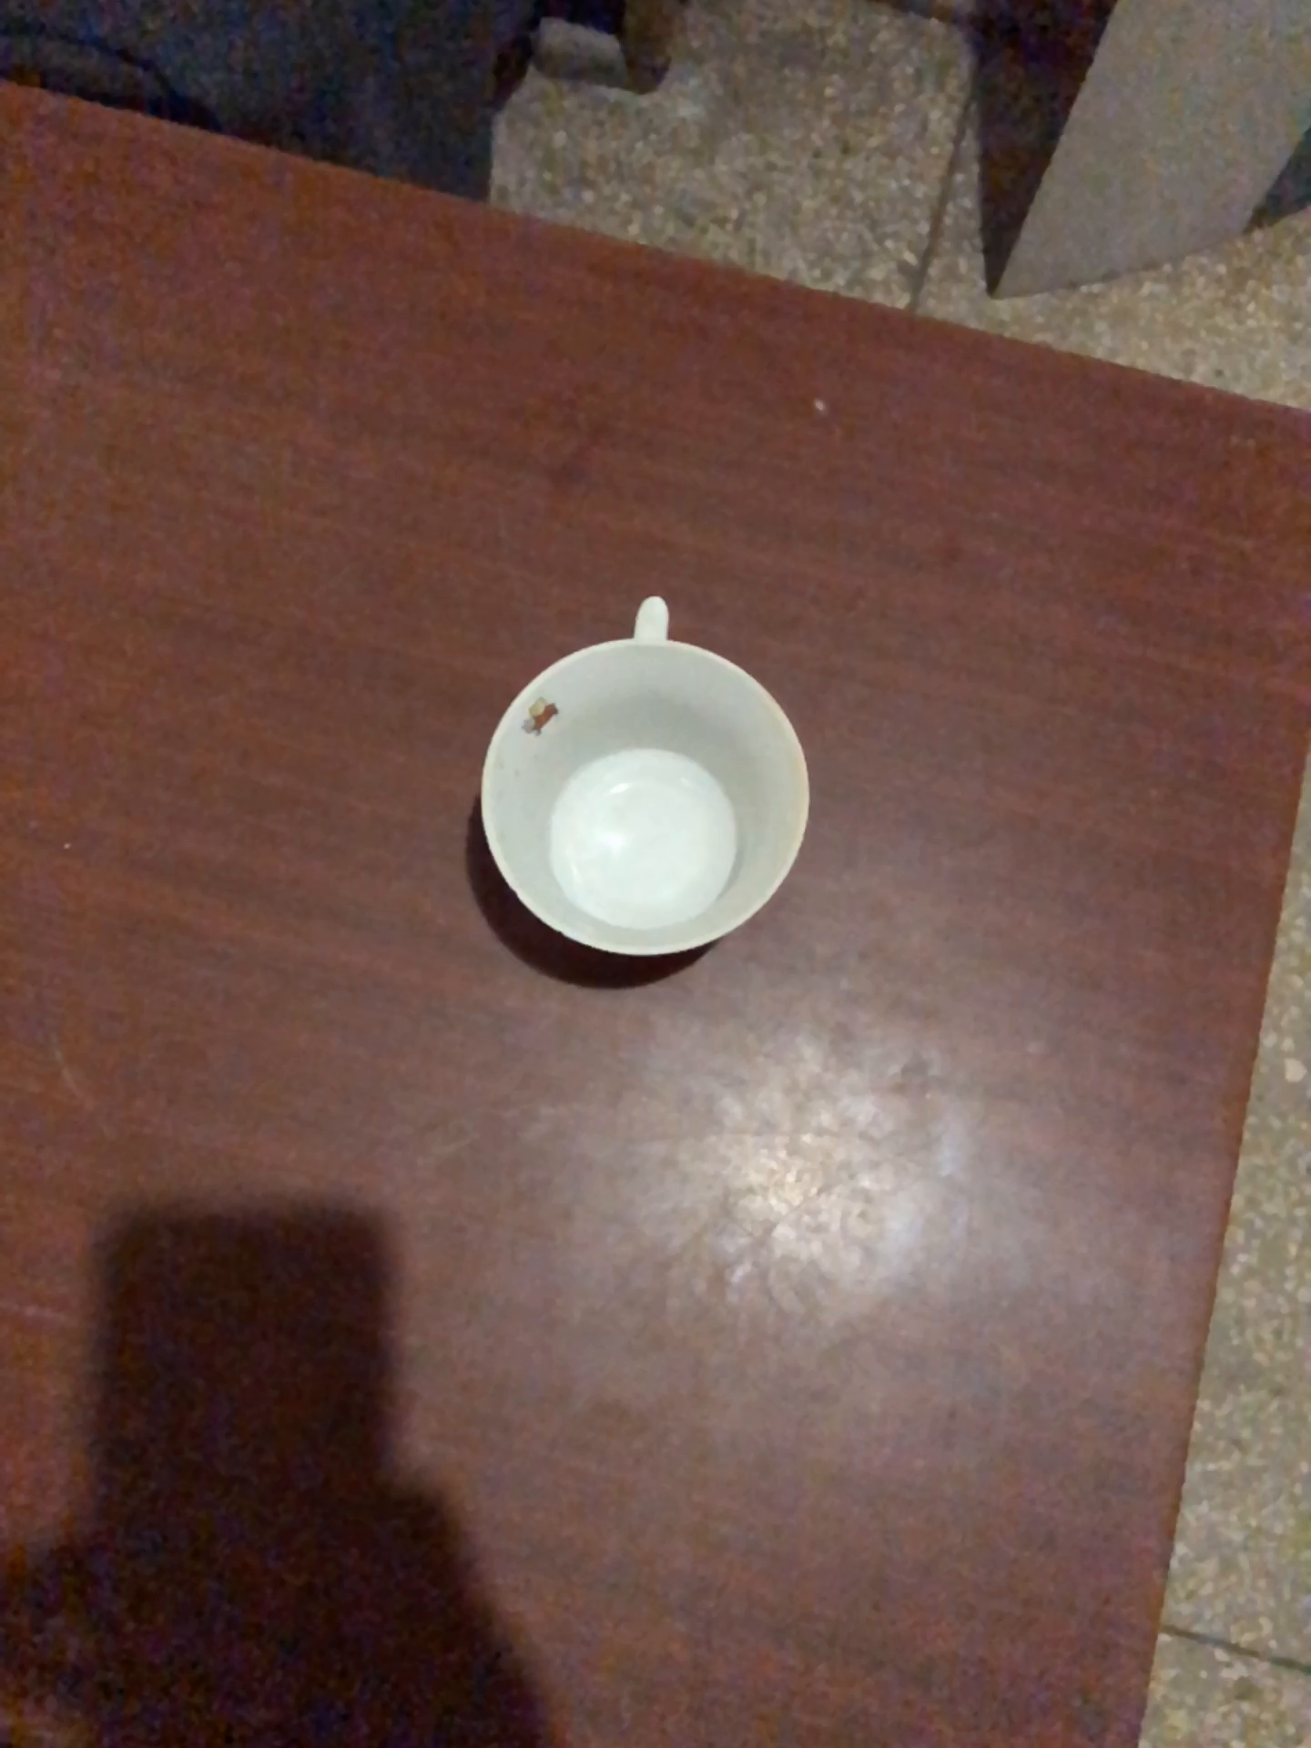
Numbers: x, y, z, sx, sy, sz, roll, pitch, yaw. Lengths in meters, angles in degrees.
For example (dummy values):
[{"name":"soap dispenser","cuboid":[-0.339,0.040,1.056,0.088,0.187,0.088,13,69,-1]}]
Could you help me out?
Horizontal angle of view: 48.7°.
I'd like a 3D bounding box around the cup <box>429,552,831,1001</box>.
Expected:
[{"name":"cup","cuboid":[-0.006,-0.026,0.426,0.100,0.059,0.110,6,77,-1]}]
